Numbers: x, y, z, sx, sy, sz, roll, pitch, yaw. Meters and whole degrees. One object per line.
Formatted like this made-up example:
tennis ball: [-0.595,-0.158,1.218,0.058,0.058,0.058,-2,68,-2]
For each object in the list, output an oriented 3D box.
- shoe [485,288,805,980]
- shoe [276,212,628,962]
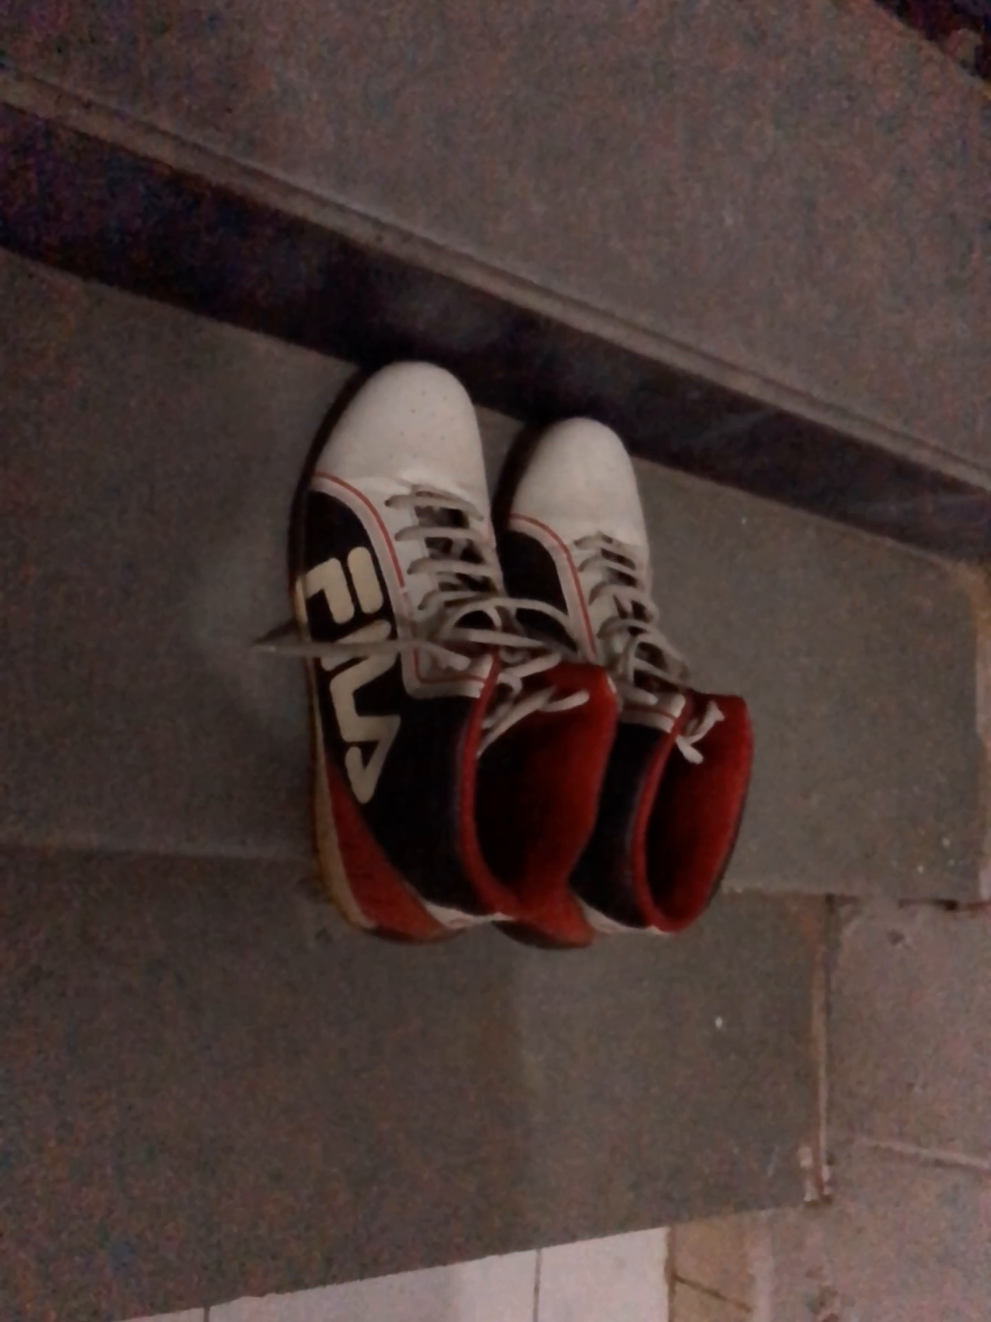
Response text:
shoe: [0.075,-0.006,0.549,0.111,0.100,0.310,11,75,-32]
shoe: [-0.021,-0.024,0.519,0.111,0.119,0.310,8,76,-32]
